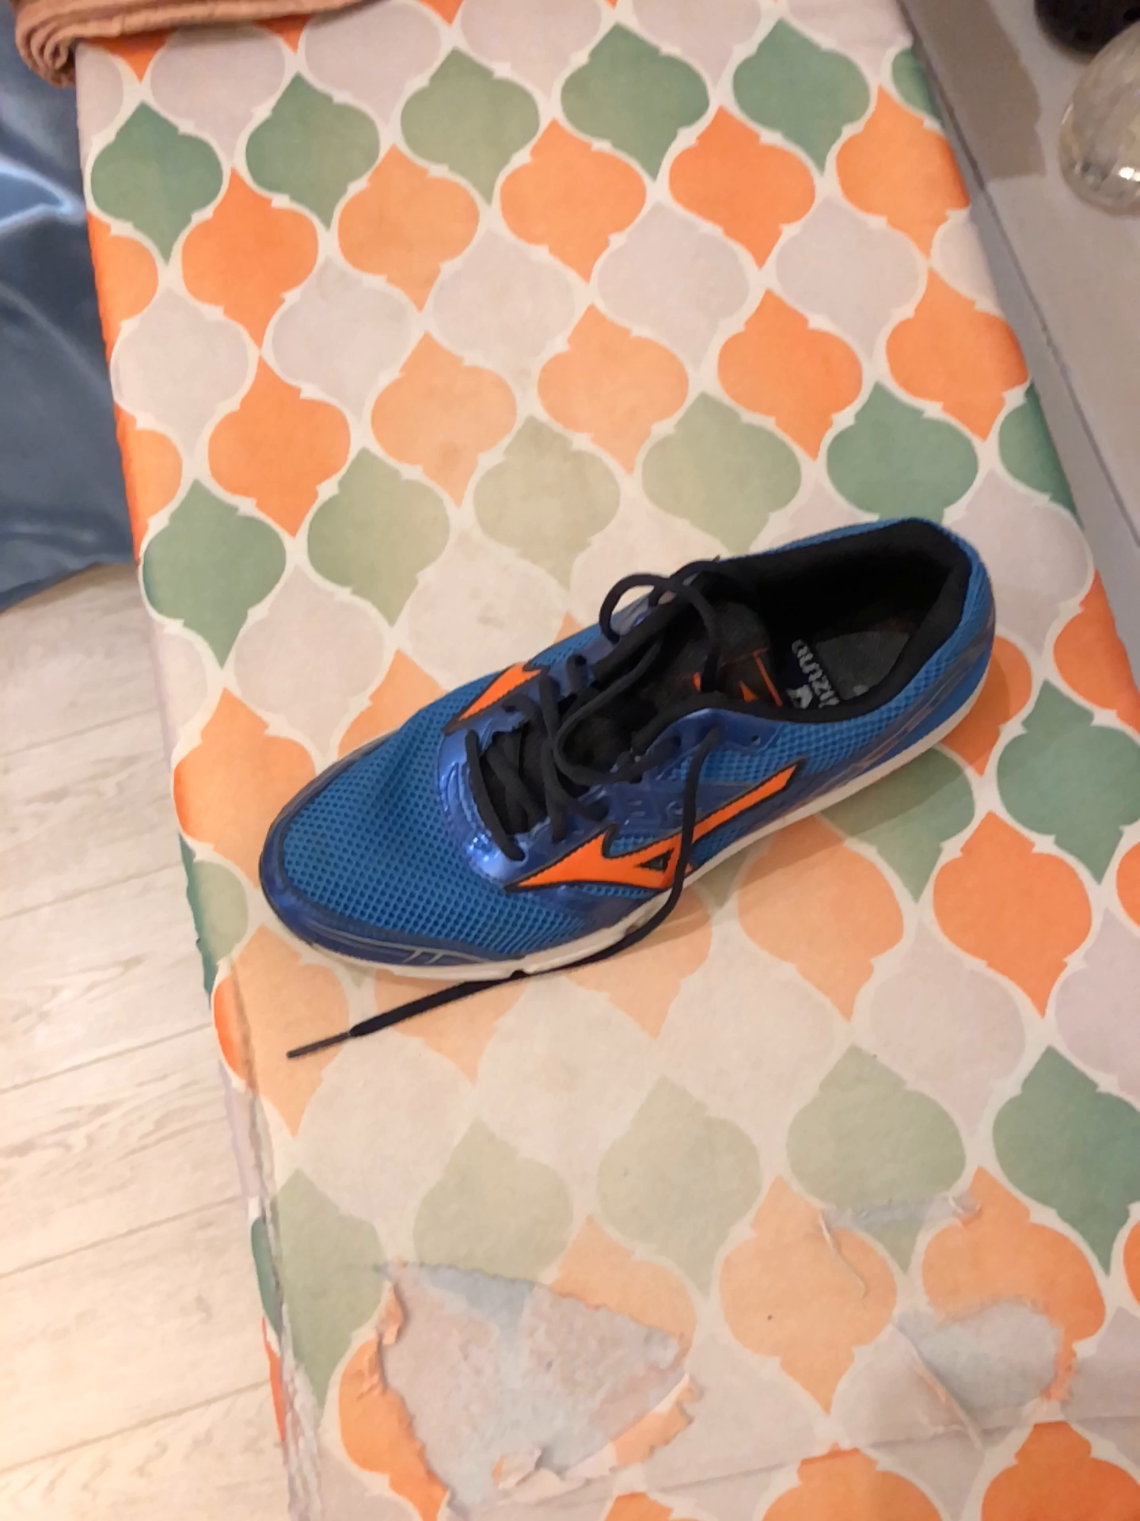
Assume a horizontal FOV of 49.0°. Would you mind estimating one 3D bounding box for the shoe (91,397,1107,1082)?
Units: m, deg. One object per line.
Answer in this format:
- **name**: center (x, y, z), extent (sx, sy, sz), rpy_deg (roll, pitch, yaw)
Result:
- **shoe**: center (0.010, -0.001, 0.462), extent (0.310, 0.110, 0.120), rpy_deg (-22, 78, -4)
